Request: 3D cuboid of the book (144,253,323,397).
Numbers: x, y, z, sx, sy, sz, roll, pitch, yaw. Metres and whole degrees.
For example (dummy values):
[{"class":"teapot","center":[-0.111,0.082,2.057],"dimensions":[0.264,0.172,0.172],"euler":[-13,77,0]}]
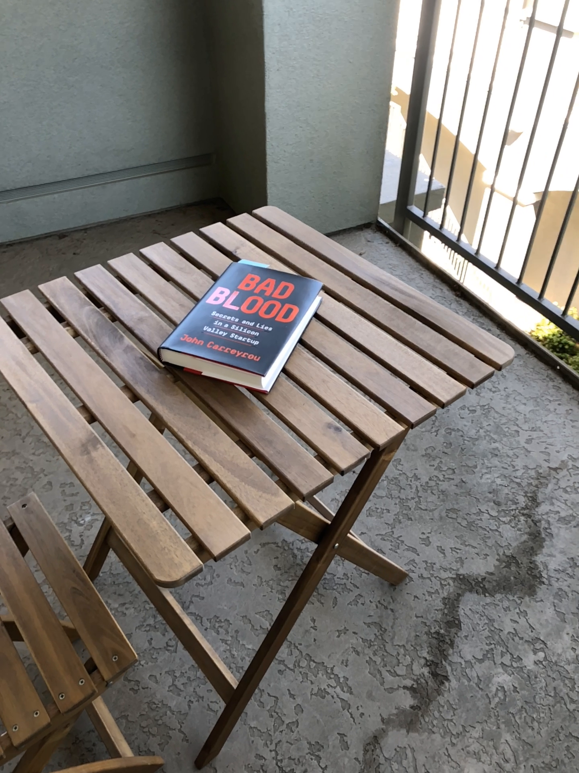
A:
[{"class":"book","center":[-0.074,-0.102,0.958],"dimensions":[0.180,0.050,0.241],"euler":[14,44,15]}]
